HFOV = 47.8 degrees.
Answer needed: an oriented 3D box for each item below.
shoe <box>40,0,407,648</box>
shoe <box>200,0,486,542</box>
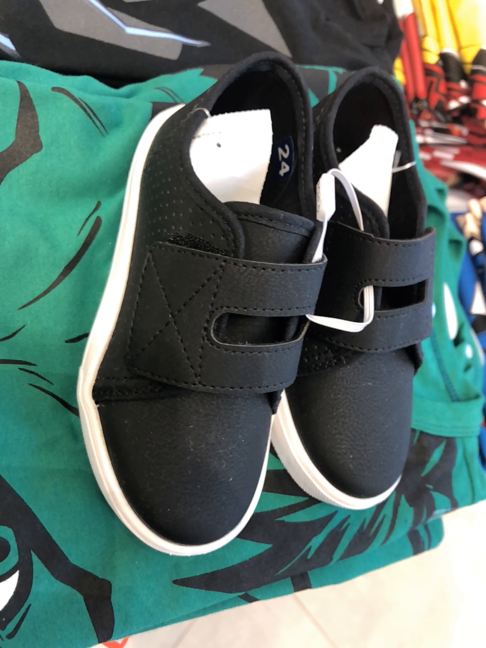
[{"bbox_3d":[-0.009,-0.004,0.188,0.080,0.090,0.170,8,77,-34],"label":"shoe"},{"bbox_3d":[0.048,-0.015,0.229,0.090,0.090,0.170,1,82,-35],"label":"shoe"}]
